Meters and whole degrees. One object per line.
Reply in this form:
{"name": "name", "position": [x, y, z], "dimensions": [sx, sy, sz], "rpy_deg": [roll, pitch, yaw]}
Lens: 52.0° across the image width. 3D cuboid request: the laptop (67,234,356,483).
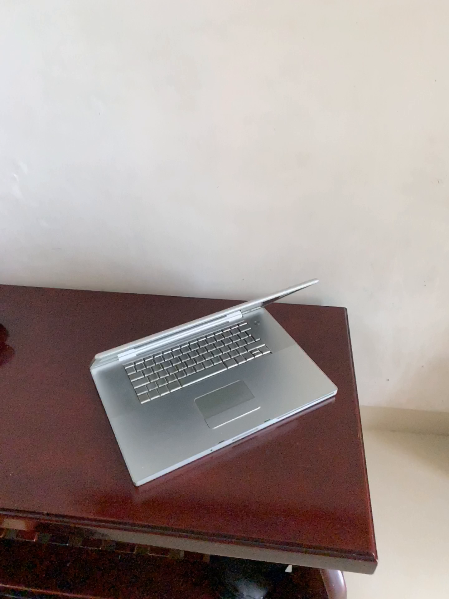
{"name": "laptop", "position": [-0.025, 0.077, 0.822], "dimensions": [0.400, 0.193, 0.266], "rpy_deg": [-18, 43, -22]}
